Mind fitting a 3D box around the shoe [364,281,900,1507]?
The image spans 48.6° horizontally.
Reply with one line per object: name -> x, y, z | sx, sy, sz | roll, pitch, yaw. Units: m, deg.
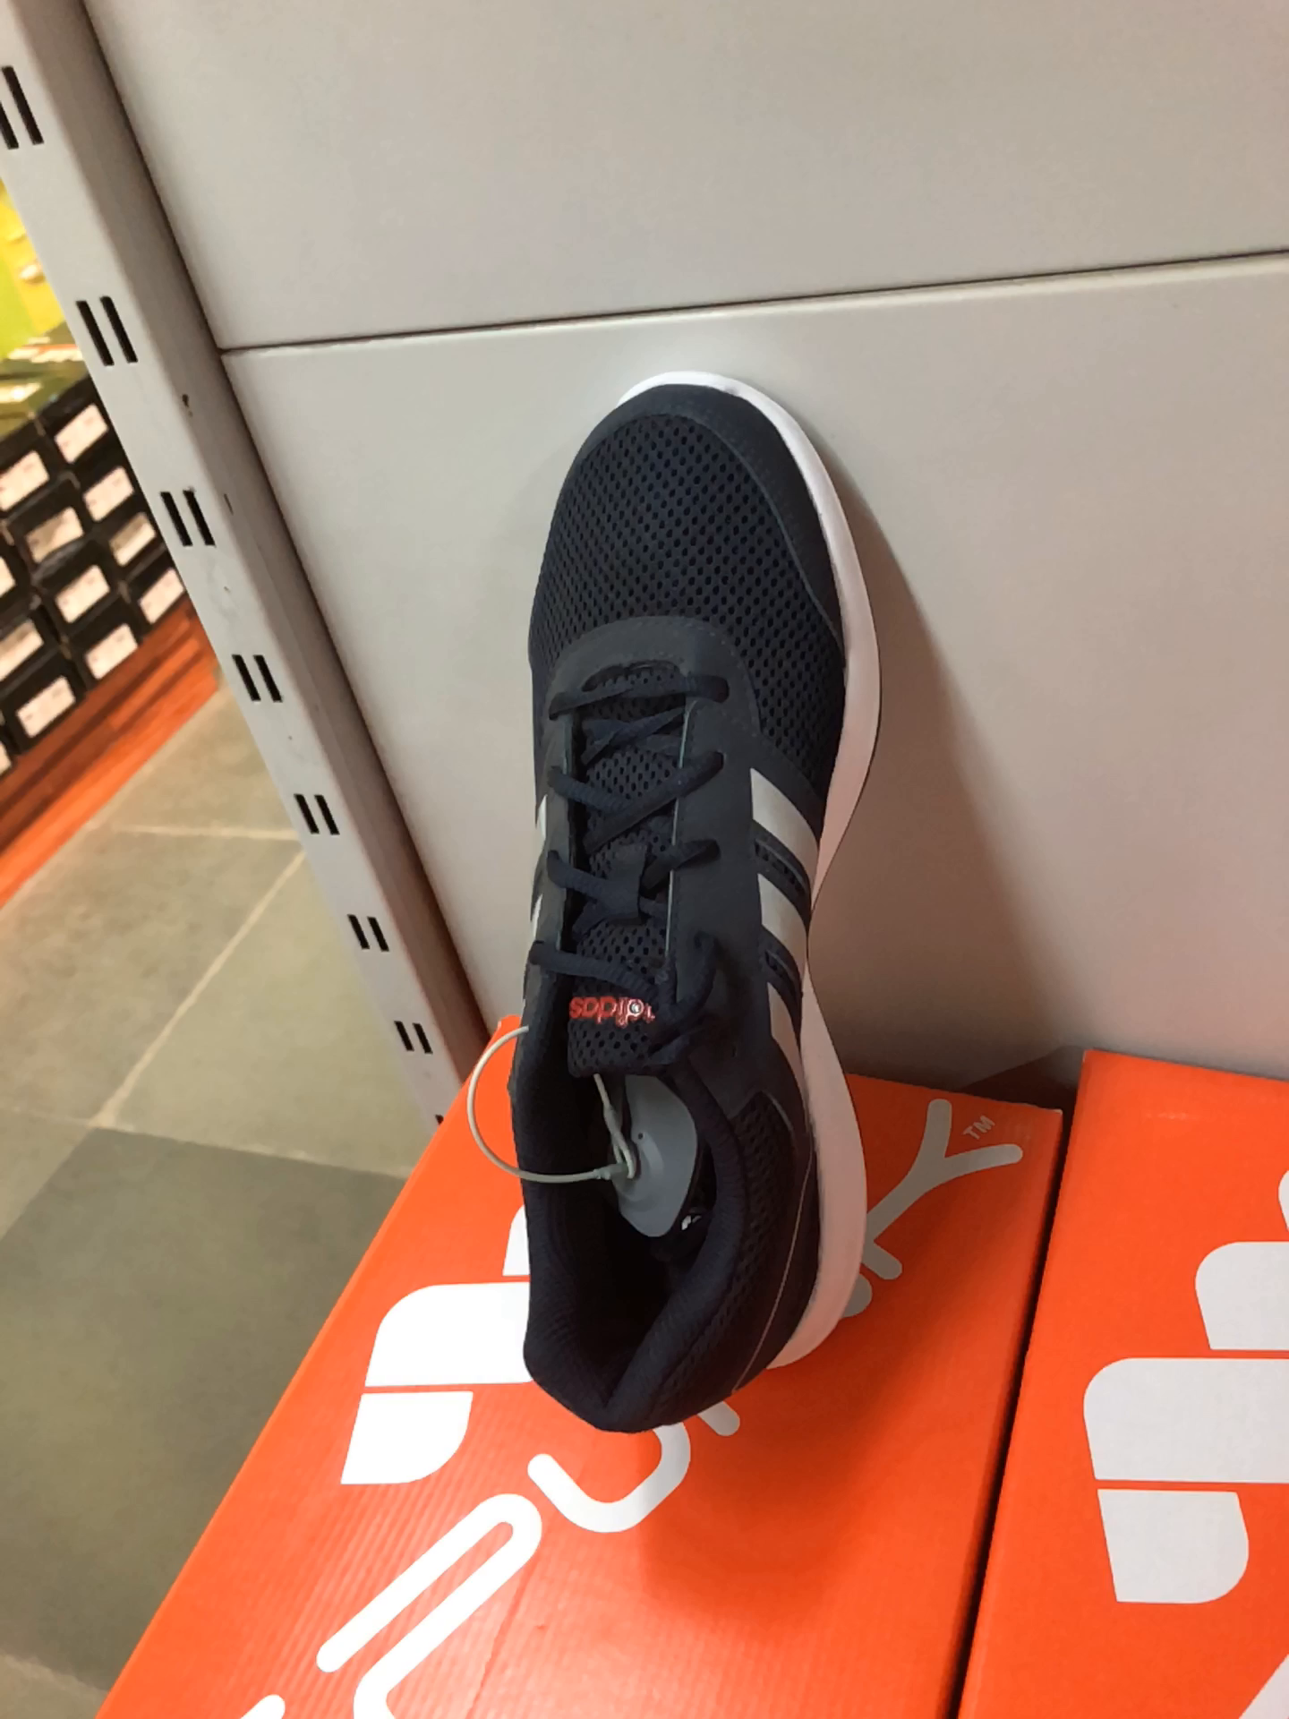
shoe -> -0.001, 0.007, 0.381 | 0.110, 0.272, 0.088 | -1, 1, 28
